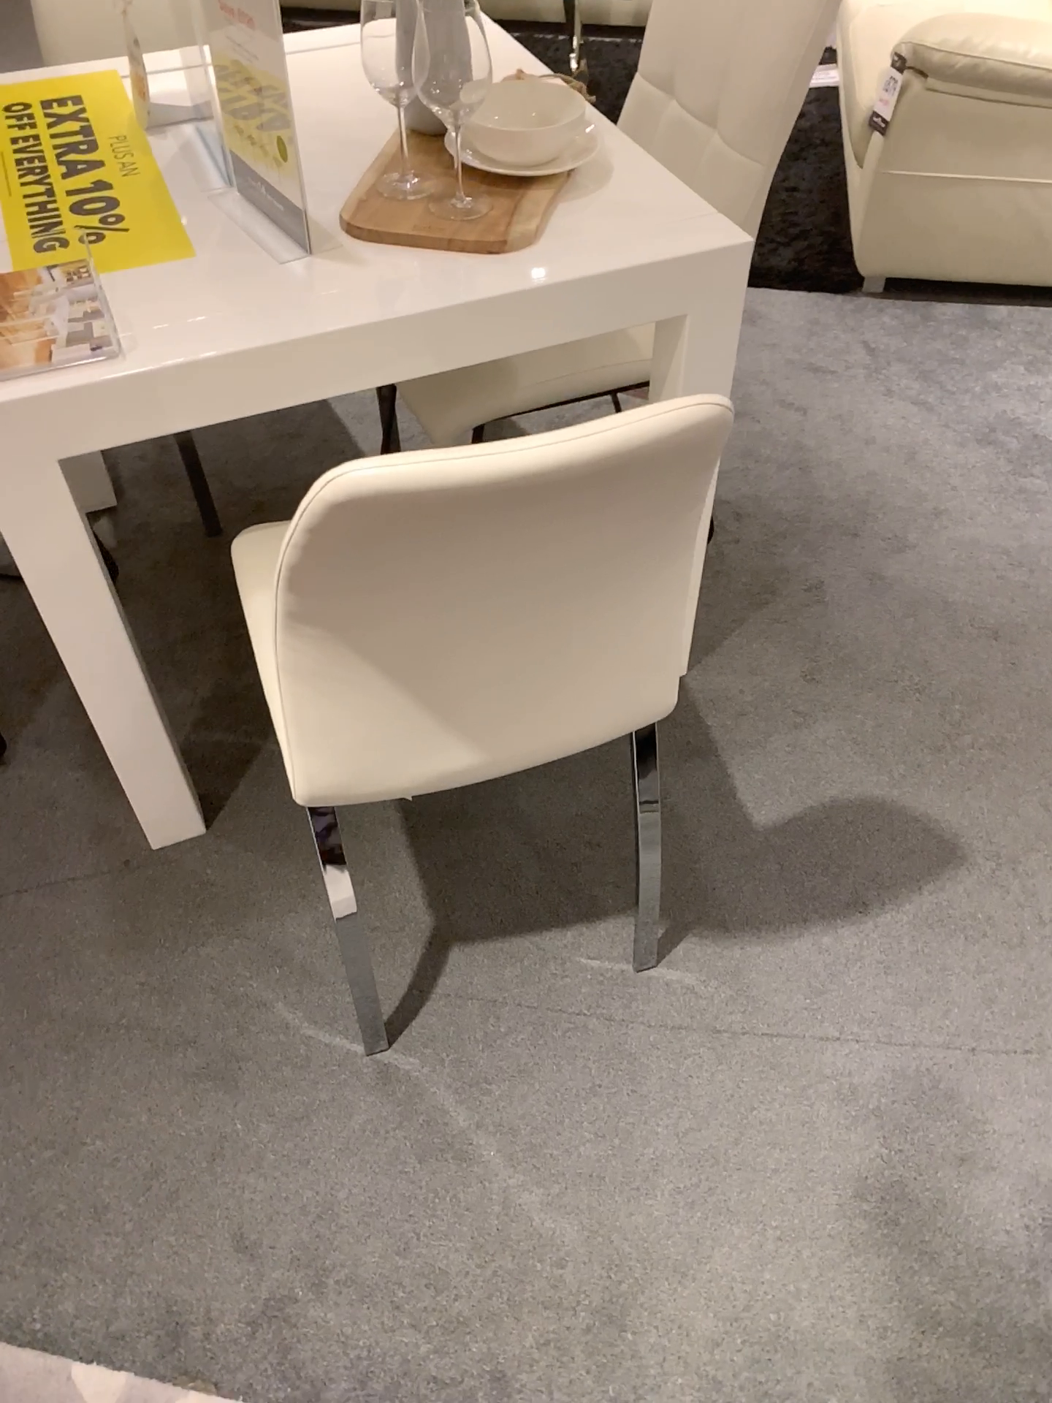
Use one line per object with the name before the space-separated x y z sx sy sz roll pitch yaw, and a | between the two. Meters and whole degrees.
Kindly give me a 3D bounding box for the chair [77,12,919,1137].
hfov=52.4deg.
chair | -0.083 -0.083 1.167 0.479 0.955 0.649 -13 50 -11
